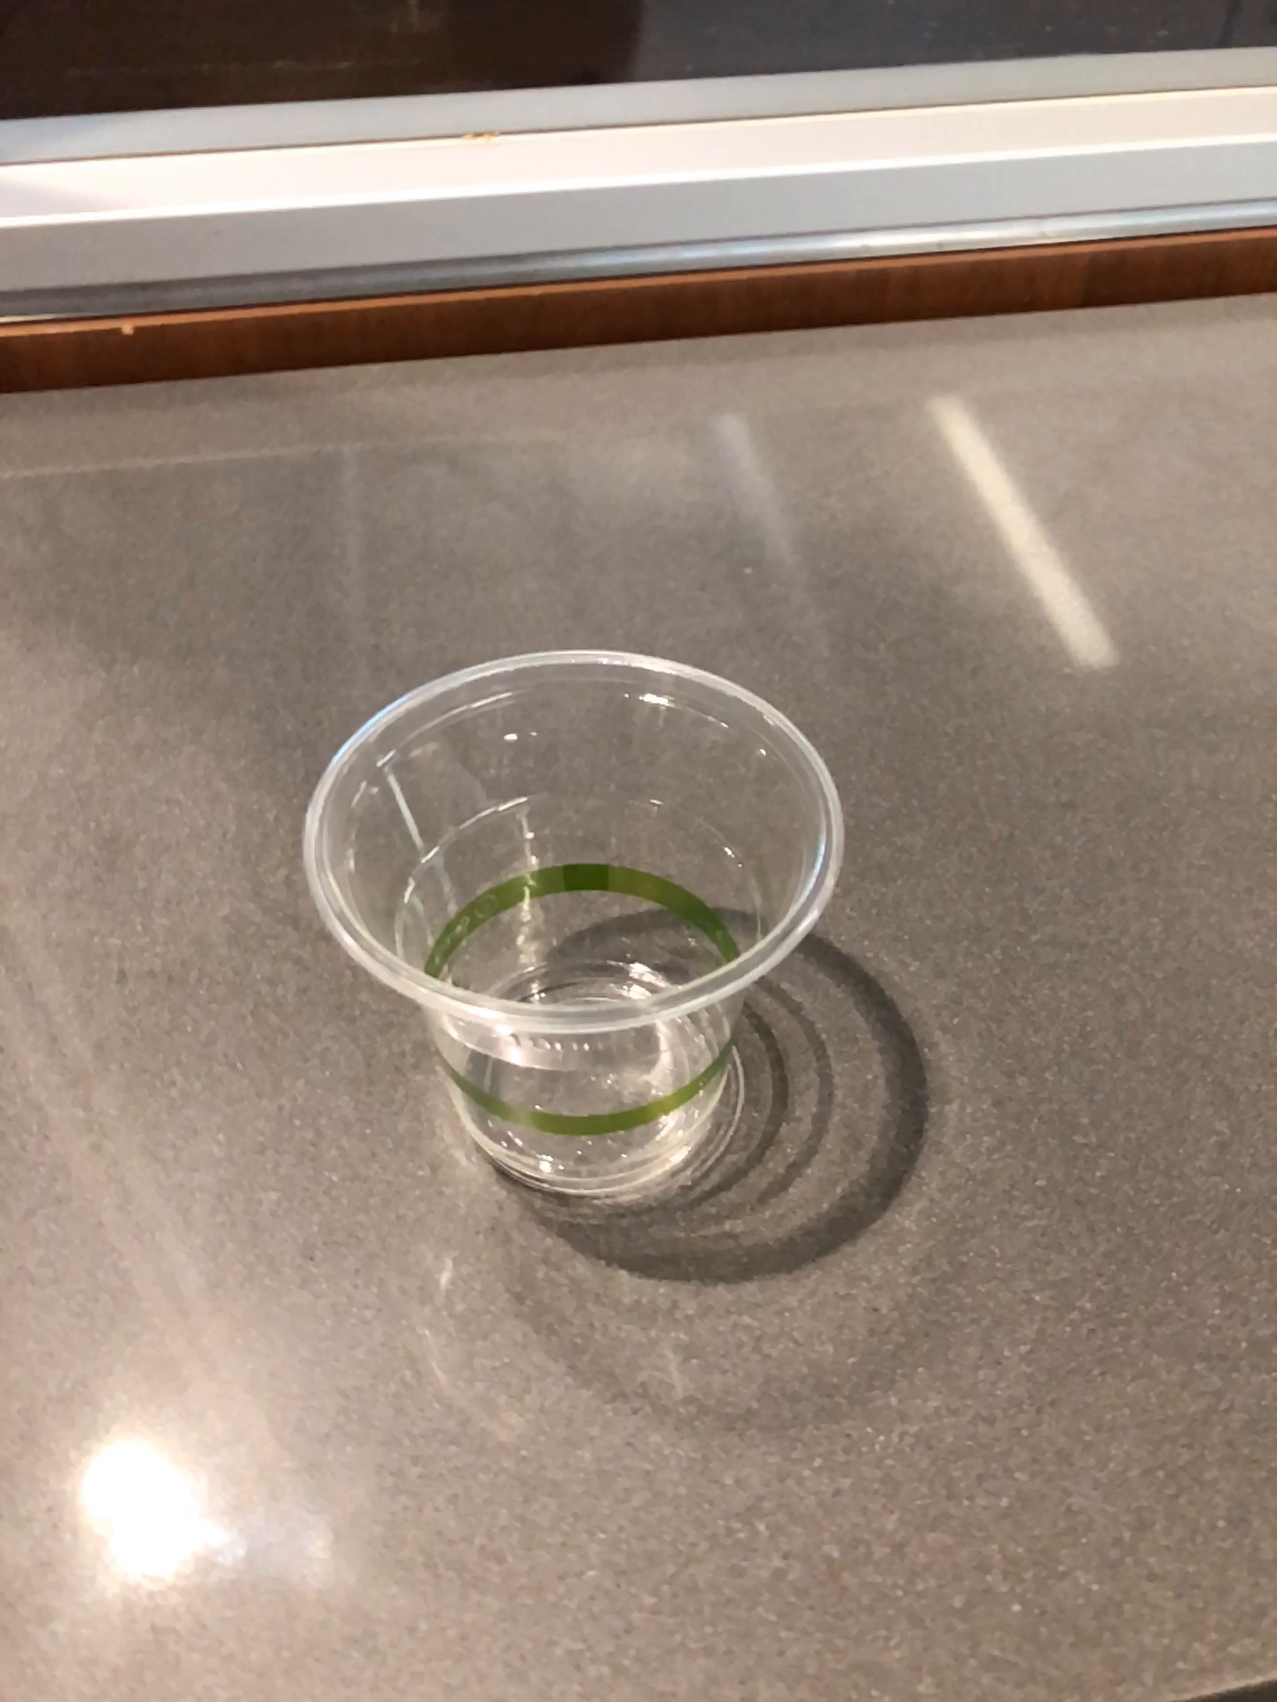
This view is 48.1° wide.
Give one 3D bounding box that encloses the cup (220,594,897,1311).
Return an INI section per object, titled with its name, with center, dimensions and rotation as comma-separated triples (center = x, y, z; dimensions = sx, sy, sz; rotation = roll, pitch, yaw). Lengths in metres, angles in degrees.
[cup]
center = -0.006, 0.012, 0.210
dimensions = 0.070, 0.060, 0.070
rotation = -1, 43, 0
